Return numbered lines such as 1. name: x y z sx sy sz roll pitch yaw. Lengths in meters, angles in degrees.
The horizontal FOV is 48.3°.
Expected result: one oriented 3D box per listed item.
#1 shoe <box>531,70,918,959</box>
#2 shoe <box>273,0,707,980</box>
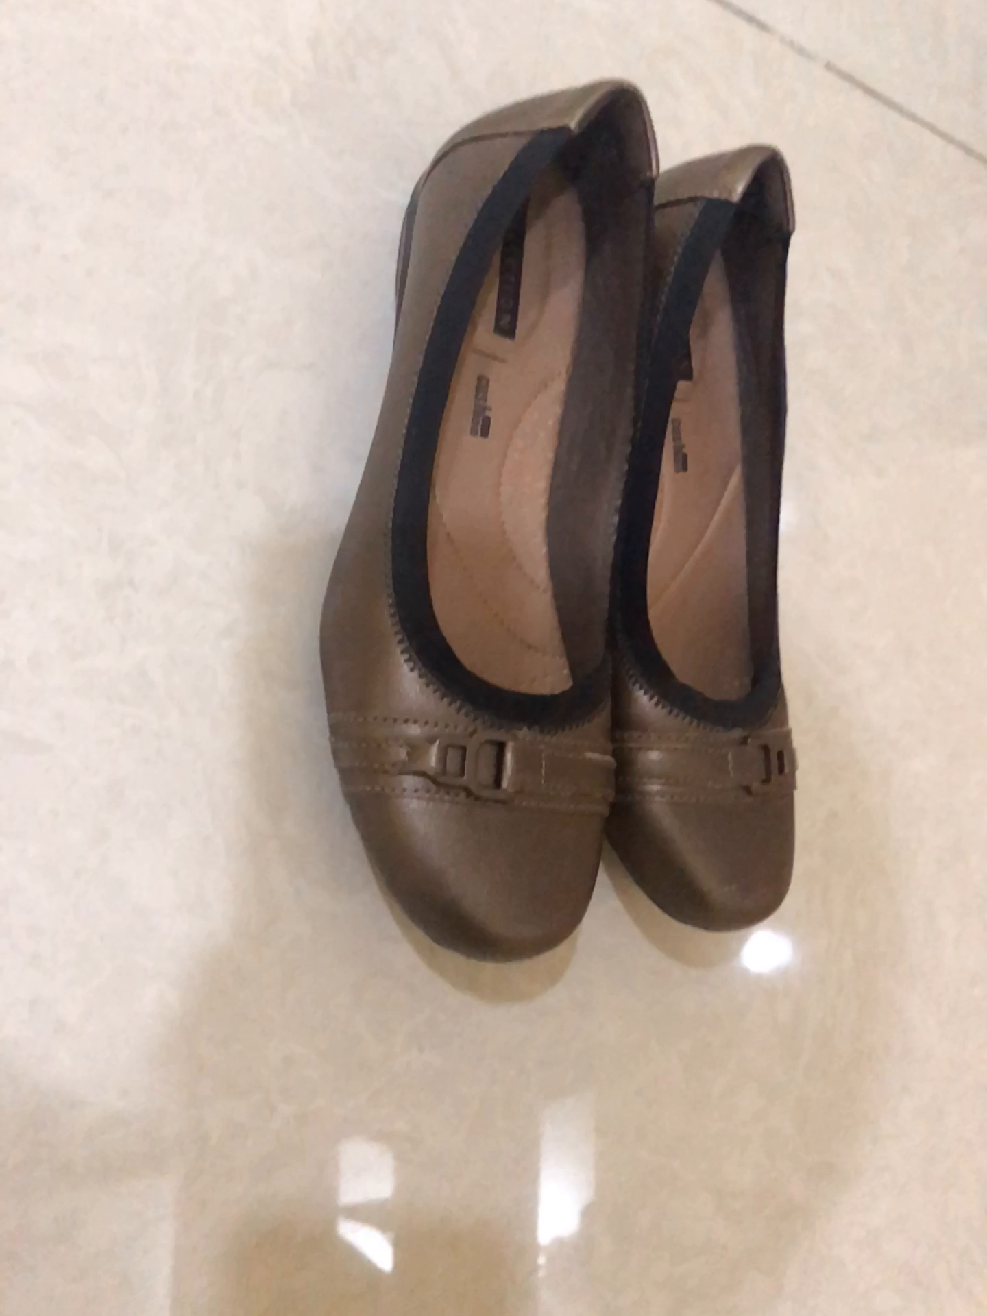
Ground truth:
1. shoe: 0.075 -0.042 0.371 0.090 0.070 0.260 1 84 -35
2. shoe: 0.005 -0.050 0.320 0.101 0.050 0.270 9 79 -34
